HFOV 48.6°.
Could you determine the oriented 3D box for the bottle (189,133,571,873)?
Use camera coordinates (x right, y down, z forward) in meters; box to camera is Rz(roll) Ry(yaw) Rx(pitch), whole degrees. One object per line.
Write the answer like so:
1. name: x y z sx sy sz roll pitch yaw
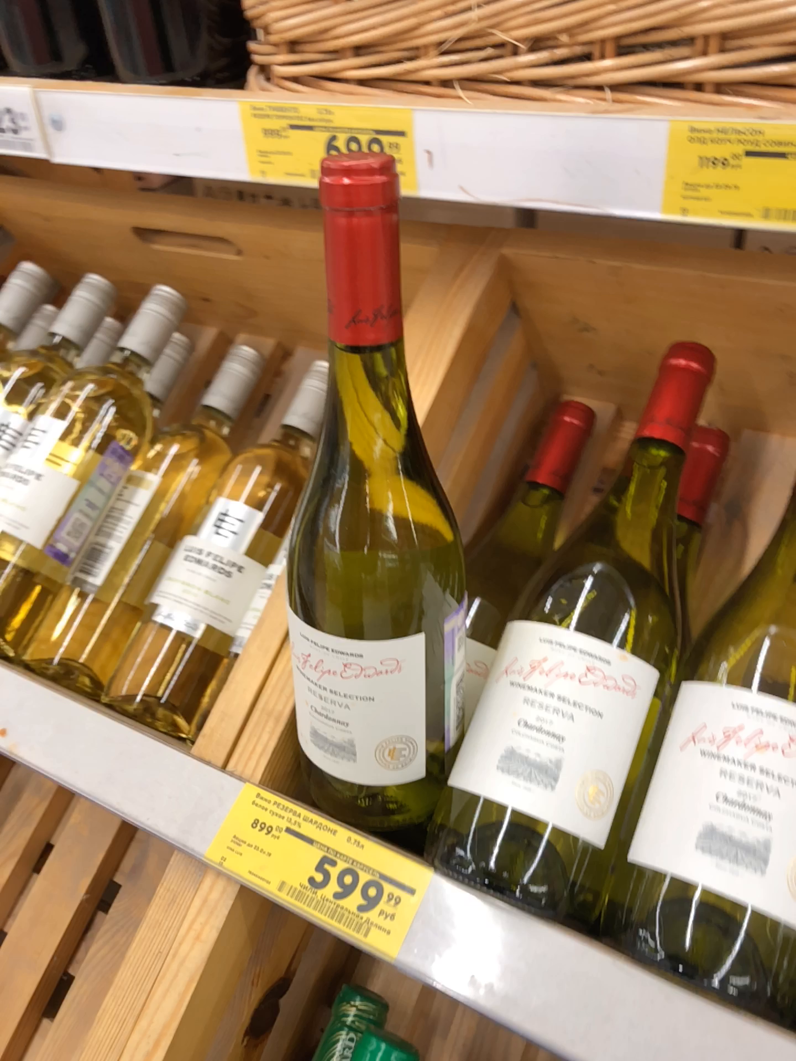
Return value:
1. bottle: -0.009 -0.011 0.384 0.100 0.289 0.100 2 26 -1
